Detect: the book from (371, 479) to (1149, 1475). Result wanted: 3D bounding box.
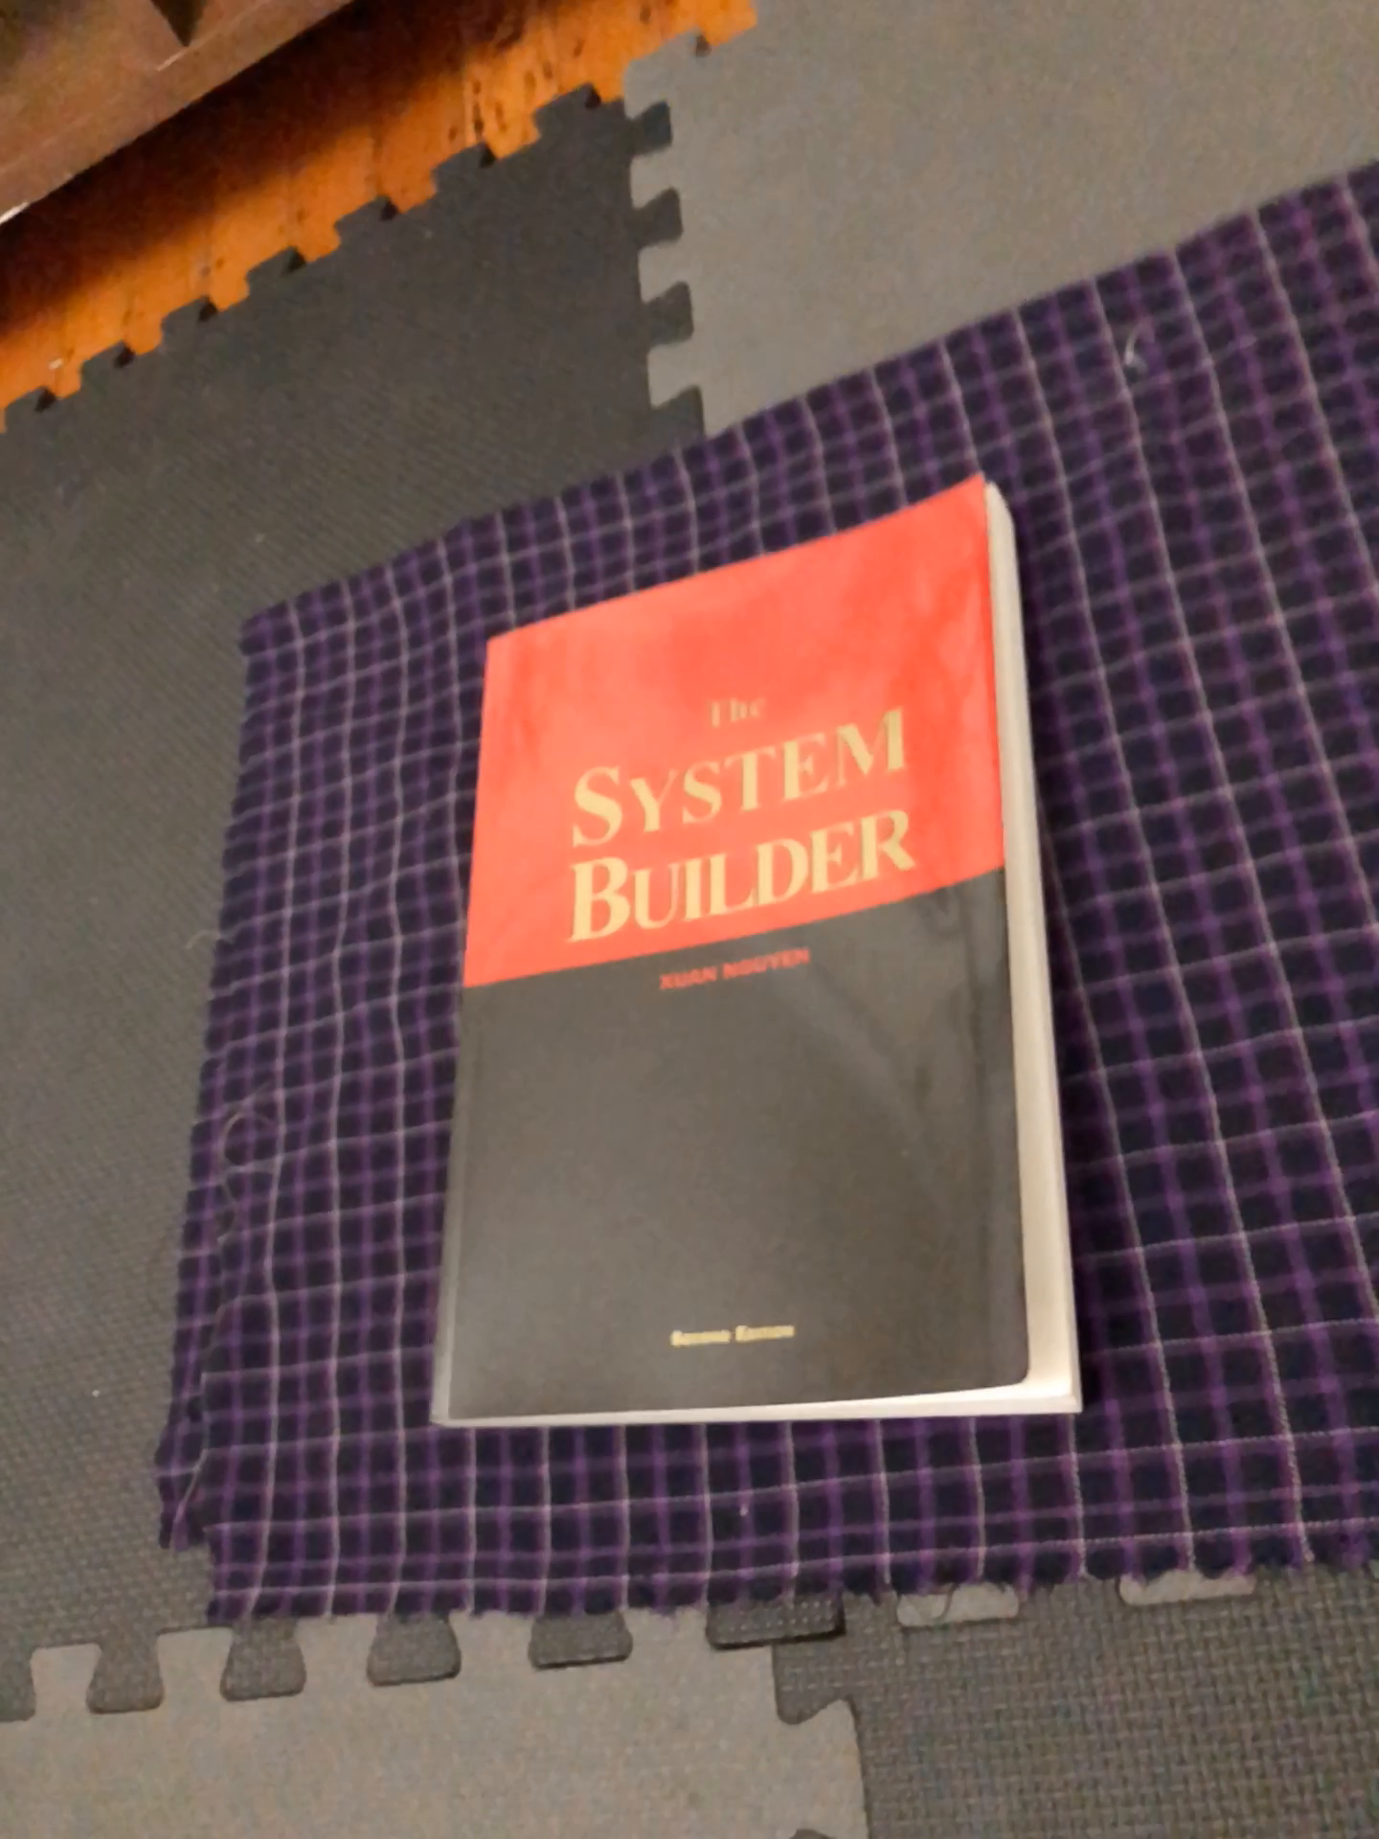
[{"bbox_3d":[0.012,0.017,0.436,0.200,0.030,0.261,-11,63,25],"label":"book"}]
